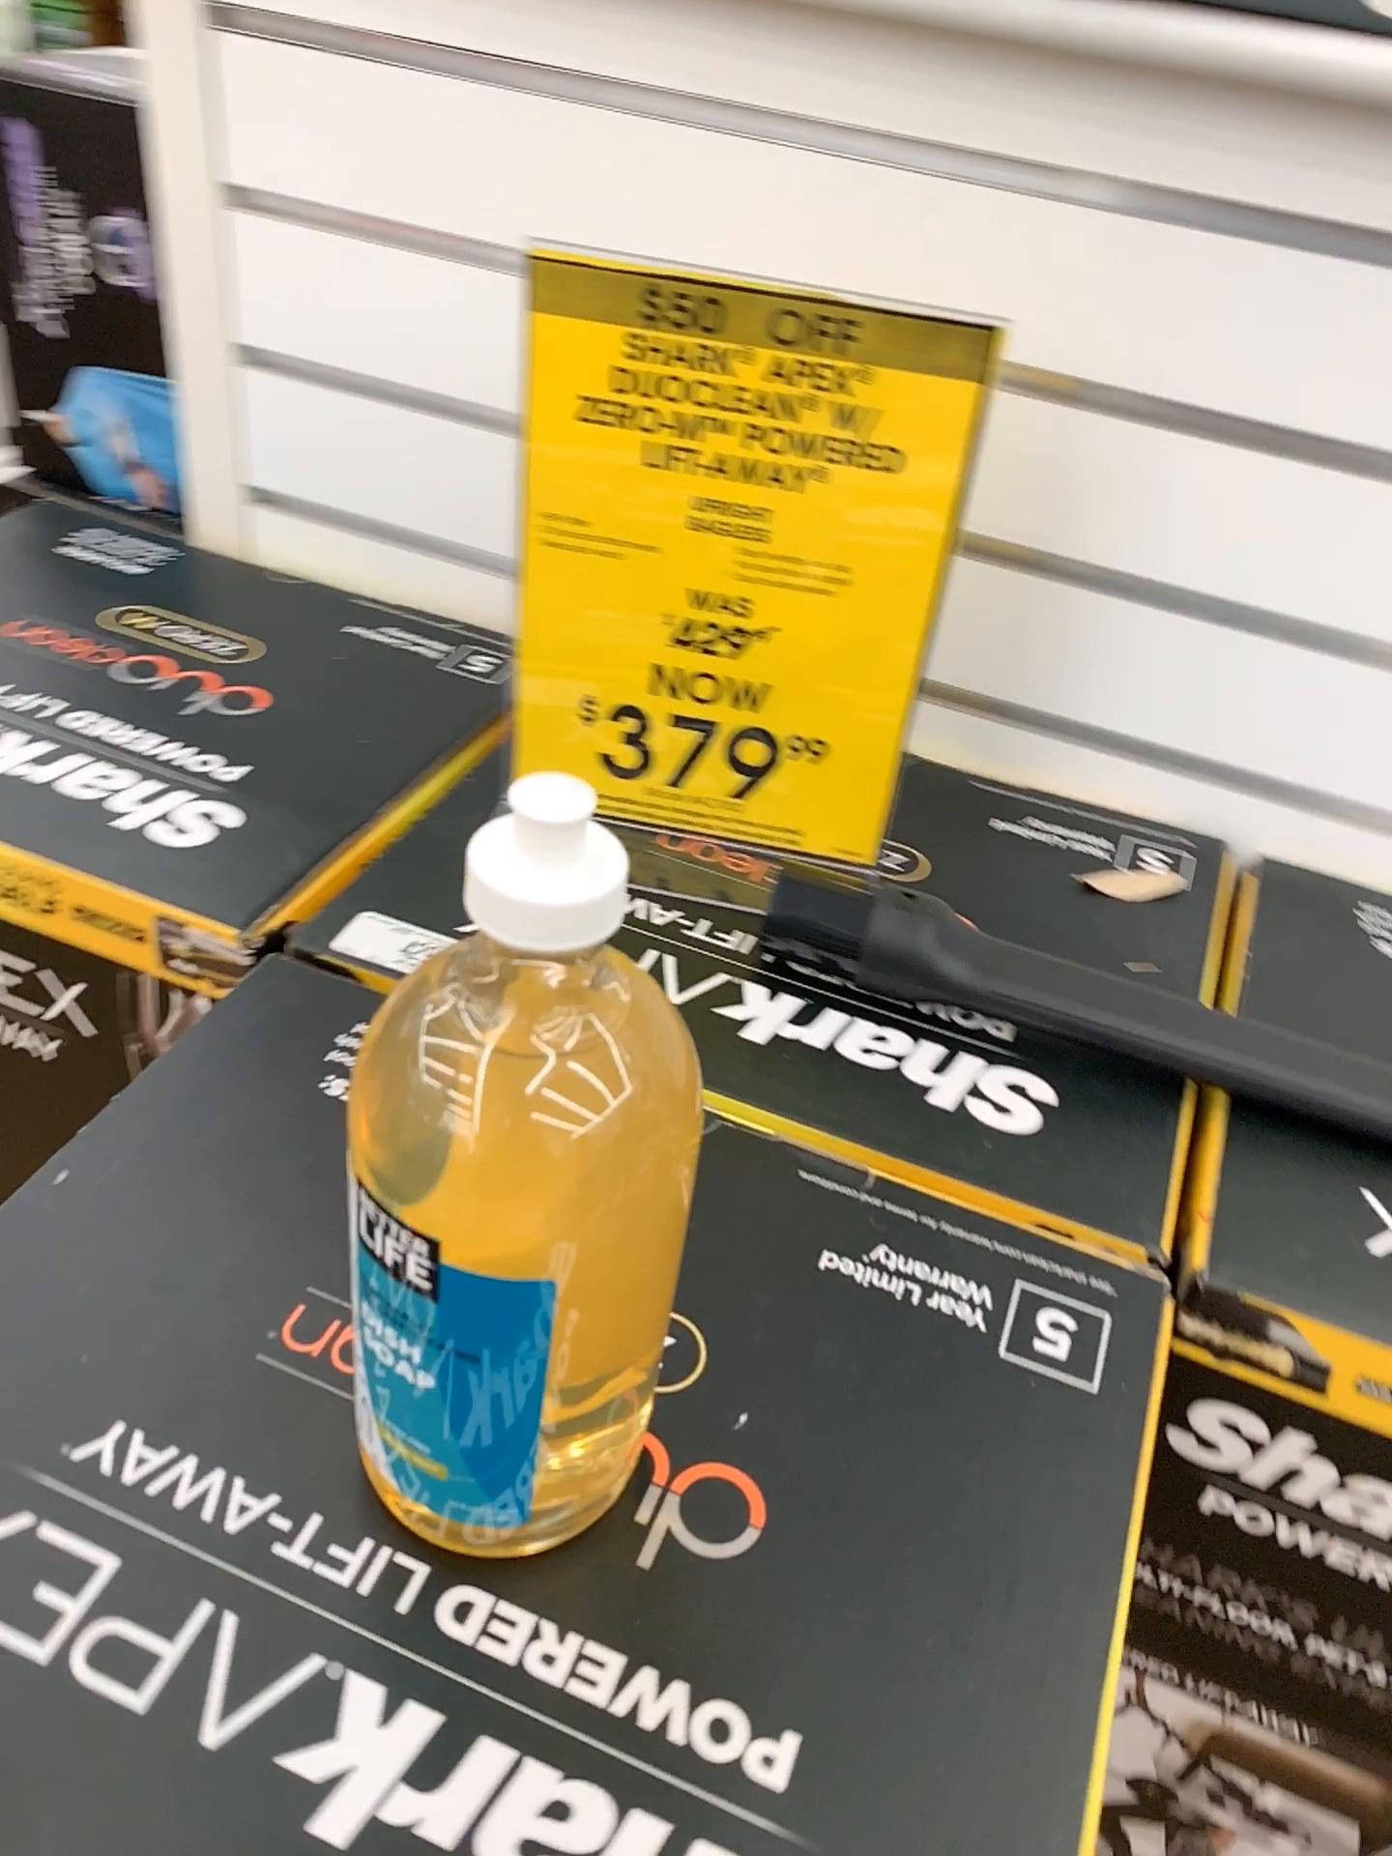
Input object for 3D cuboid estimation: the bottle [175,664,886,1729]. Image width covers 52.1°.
[{"bbox_3d":[-0.038,0.065,0.319,0.090,0.209,0.090,5,37,-4],"label":"bottle"}]
